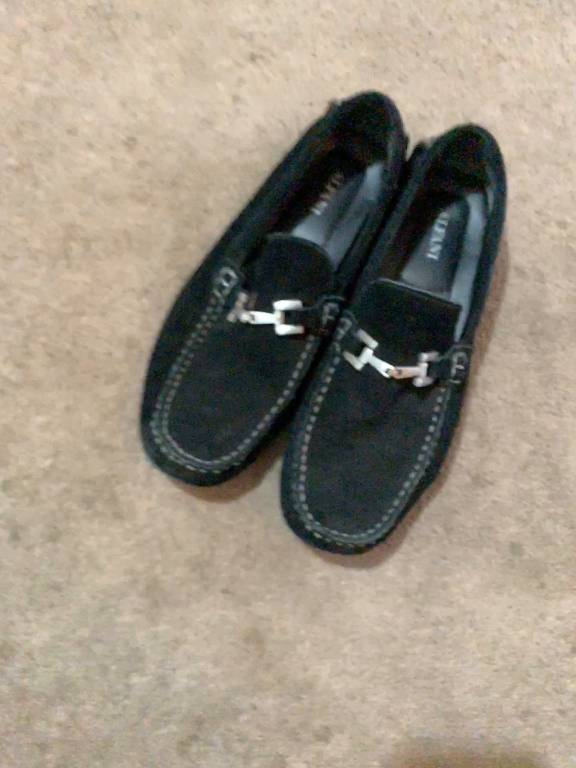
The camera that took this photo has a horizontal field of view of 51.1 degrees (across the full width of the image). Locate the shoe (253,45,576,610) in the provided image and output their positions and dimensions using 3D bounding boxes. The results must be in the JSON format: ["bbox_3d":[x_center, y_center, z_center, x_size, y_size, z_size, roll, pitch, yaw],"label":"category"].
[{"bbox_3d":[0.076,-0.037,0.365,0.100,0.100,0.301,18,75,3],"label":"shoe"}]

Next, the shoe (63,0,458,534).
[{"bbox_3d":[-0.004,-0.073,0.365,0.100,0.100,0.301,22,75,4],"label":"shoe"}]
